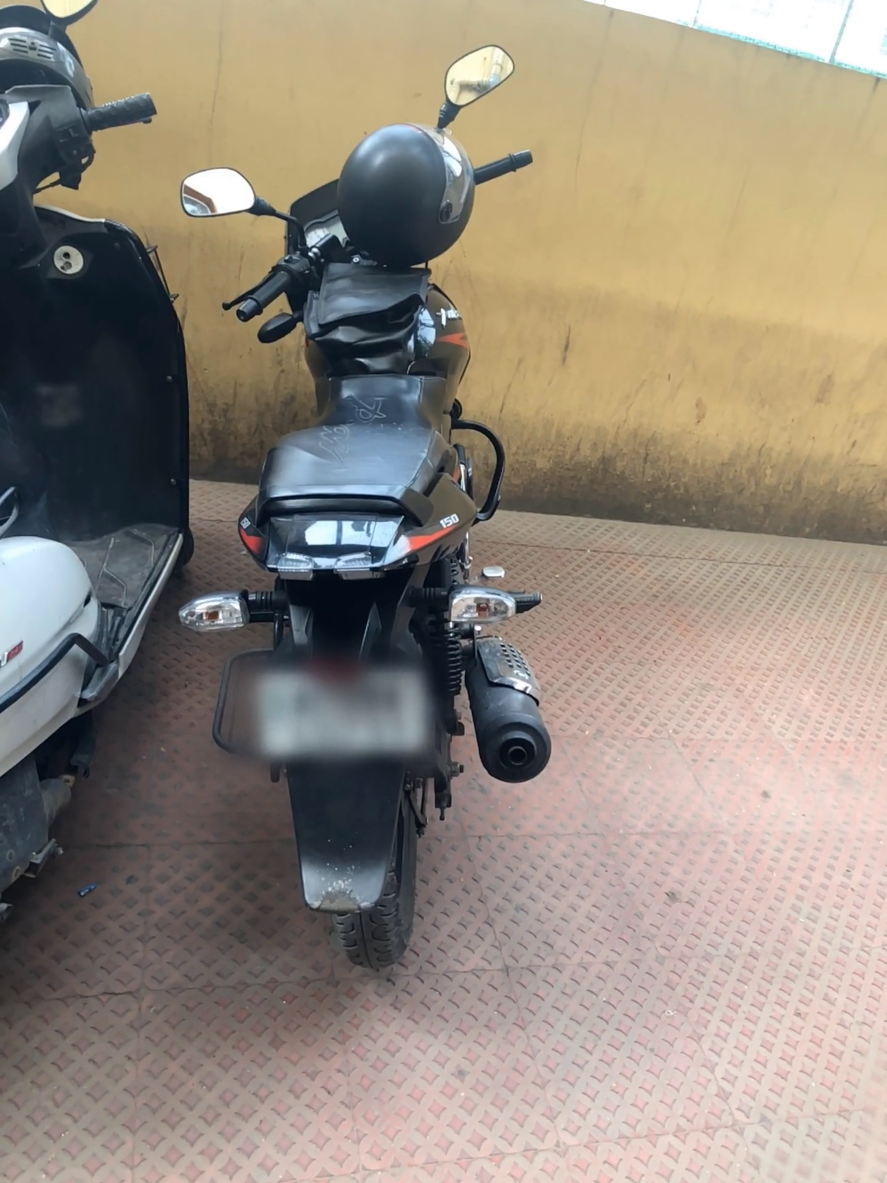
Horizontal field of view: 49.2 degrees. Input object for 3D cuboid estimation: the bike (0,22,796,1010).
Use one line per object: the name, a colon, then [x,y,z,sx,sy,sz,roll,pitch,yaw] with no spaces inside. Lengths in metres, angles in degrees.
bike: [-0.282,-0.302,1.835,0.826,1.056,1.613,5,33,-14]
